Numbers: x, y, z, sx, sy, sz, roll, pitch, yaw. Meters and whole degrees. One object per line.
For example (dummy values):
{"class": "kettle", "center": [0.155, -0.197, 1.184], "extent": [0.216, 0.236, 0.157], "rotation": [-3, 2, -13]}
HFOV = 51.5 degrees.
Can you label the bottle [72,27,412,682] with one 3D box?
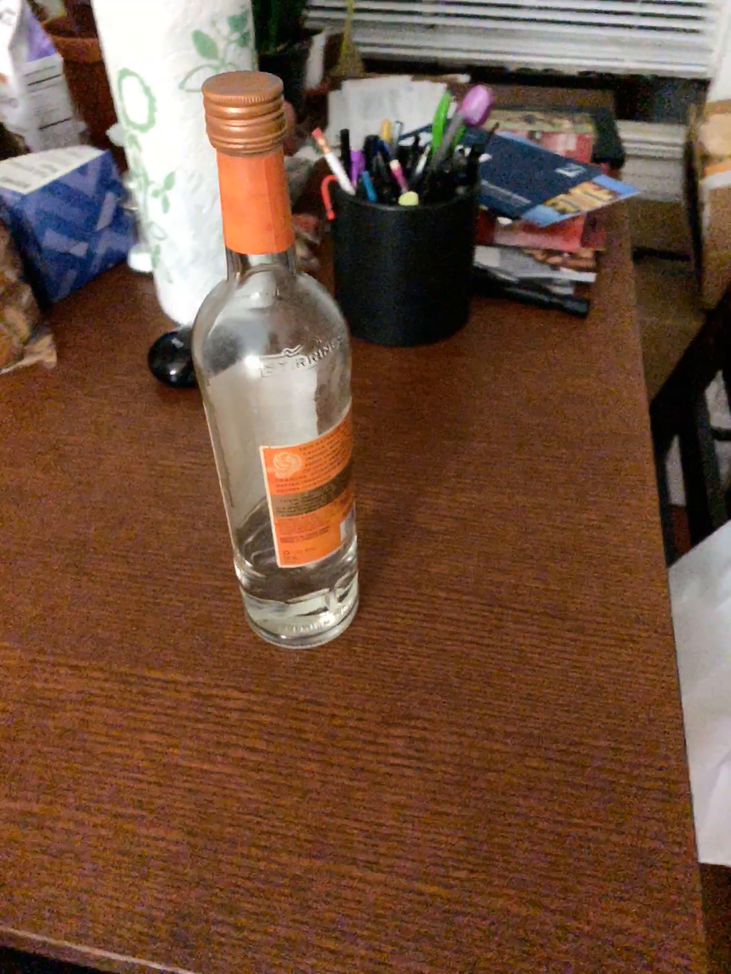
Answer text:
{"class": "bottle", "center": [-0.043, -0.037, 0.368], "extent": [0.090, 0.298, 0.080], "rotation": [-27, 50, -24]}
